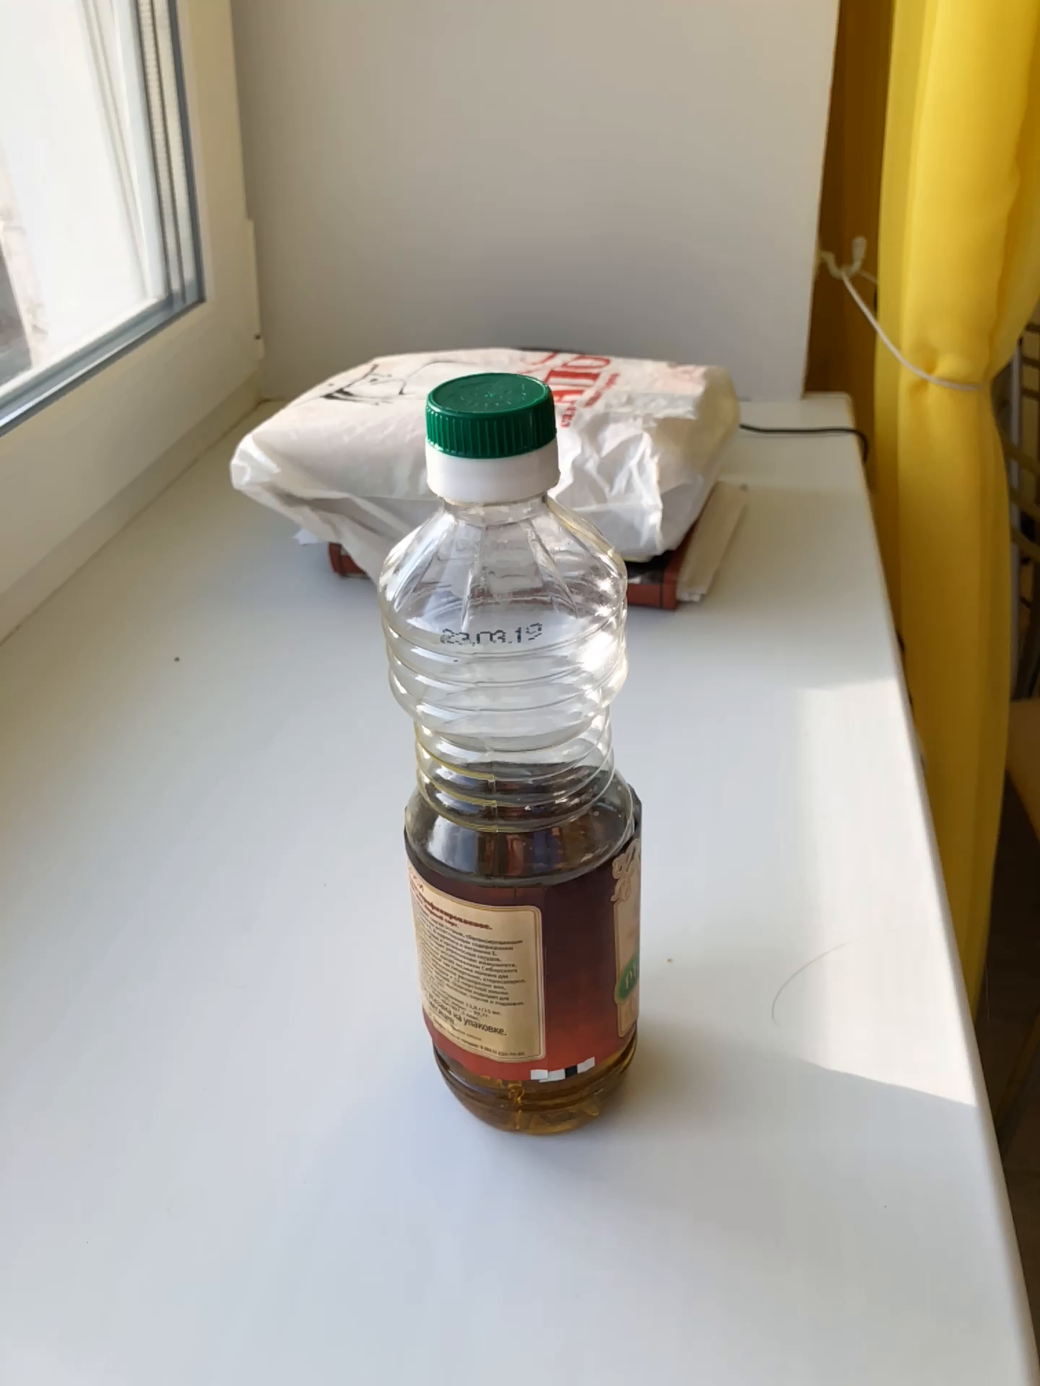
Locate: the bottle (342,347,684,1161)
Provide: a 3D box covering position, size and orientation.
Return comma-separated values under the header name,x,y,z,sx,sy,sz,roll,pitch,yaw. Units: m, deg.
name,x,y,z,sx,sy,sz,roll,pitch,yaw
bottle,0.000,0.026,0.314,0.067,0.218,0.061,-7,32,-7
